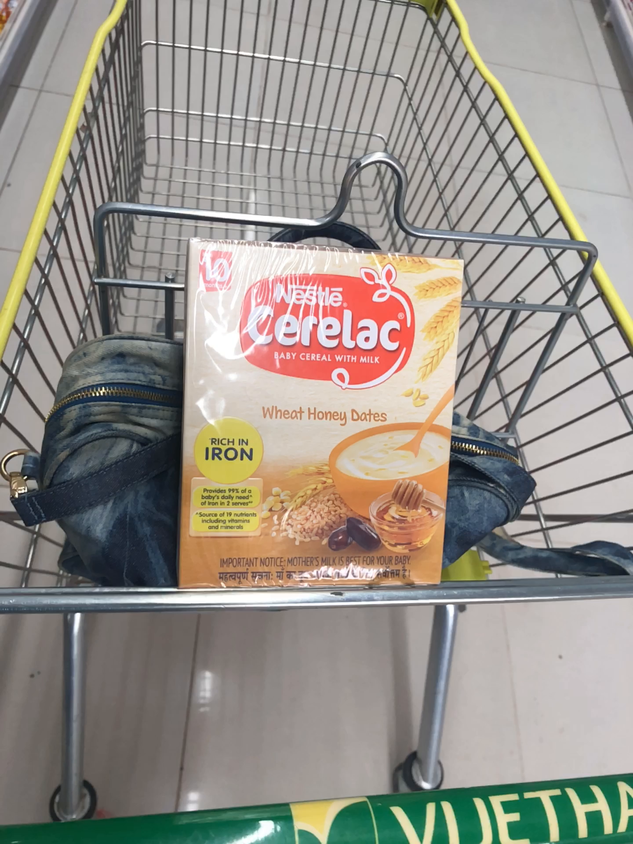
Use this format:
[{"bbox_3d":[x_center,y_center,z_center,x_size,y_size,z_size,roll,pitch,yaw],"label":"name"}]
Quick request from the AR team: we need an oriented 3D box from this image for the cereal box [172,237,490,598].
[{"bbox_3d":[0.004,-0.002,0.414,0.170,0.060,0.190,1,96,-12],"label":"cereal box"}]
